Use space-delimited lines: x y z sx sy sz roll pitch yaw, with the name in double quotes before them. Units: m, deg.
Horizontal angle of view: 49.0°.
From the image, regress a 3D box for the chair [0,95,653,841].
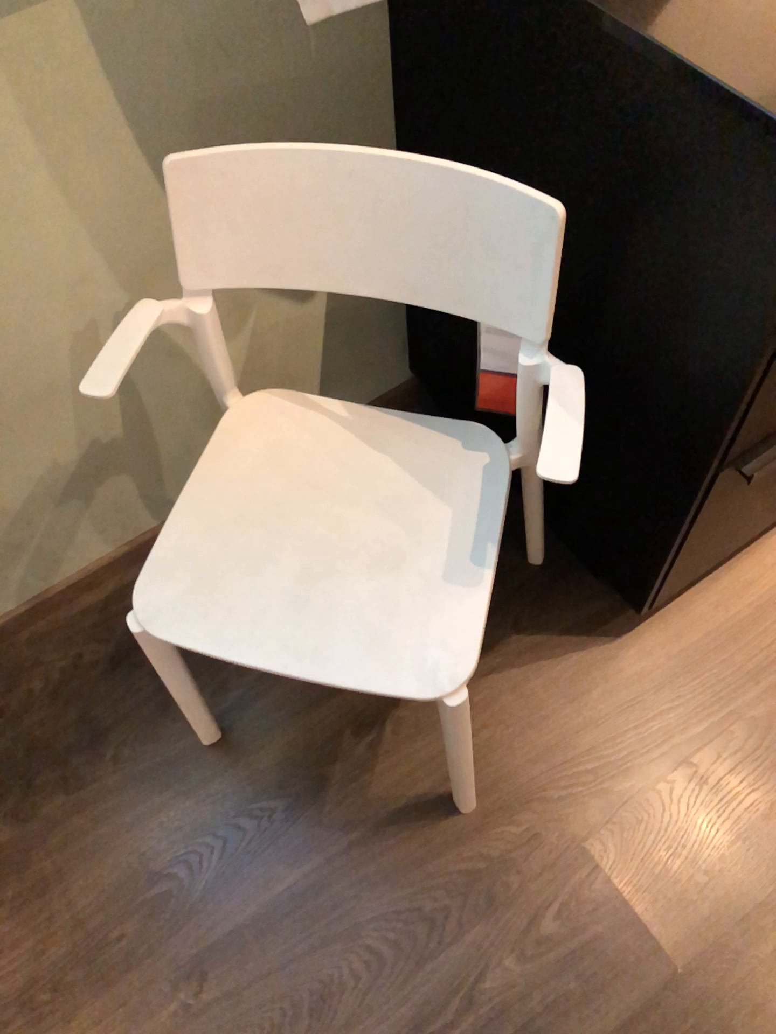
"chair" -0.039 -0.010 1.135 0.560 0.756 0.582 11 61 11
